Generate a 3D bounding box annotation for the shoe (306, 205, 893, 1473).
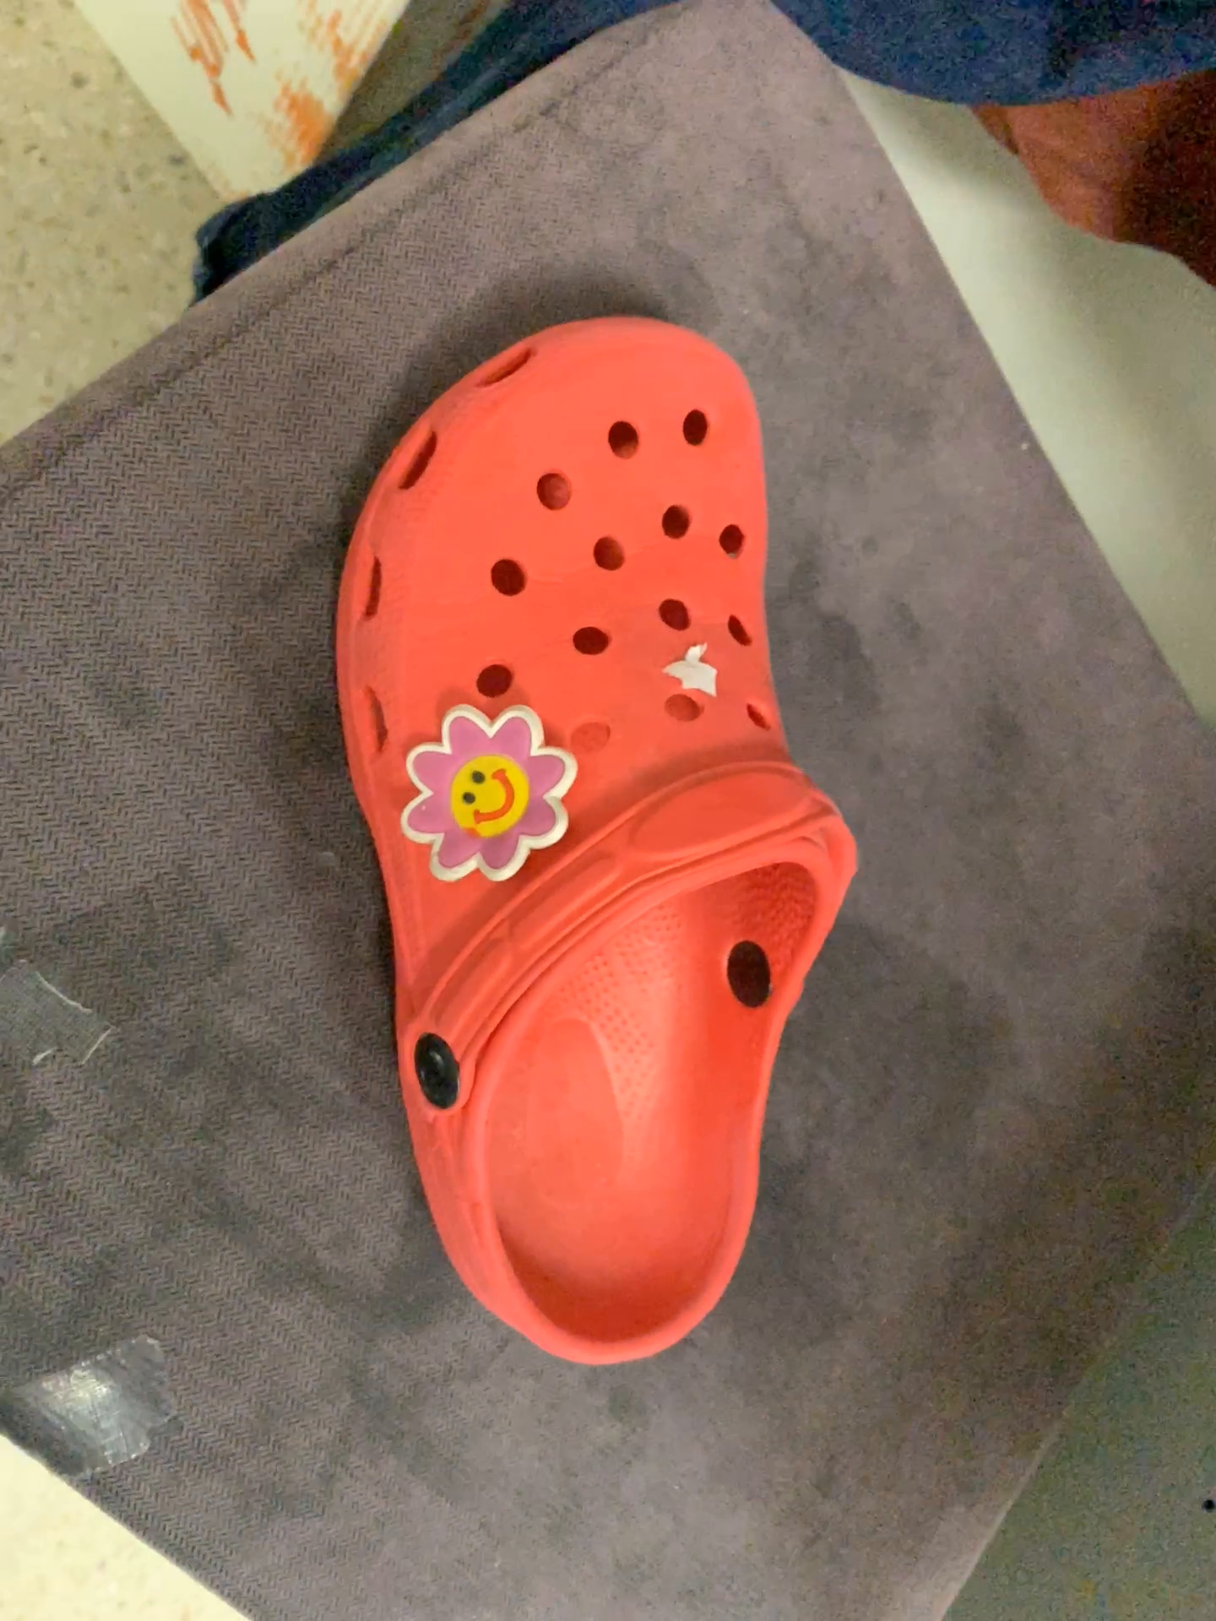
[{"bbox_3d":[-0.004,0.004,0.264,0.092,0.081,0.208,-3,94,-28],"label":"shoe"}]
